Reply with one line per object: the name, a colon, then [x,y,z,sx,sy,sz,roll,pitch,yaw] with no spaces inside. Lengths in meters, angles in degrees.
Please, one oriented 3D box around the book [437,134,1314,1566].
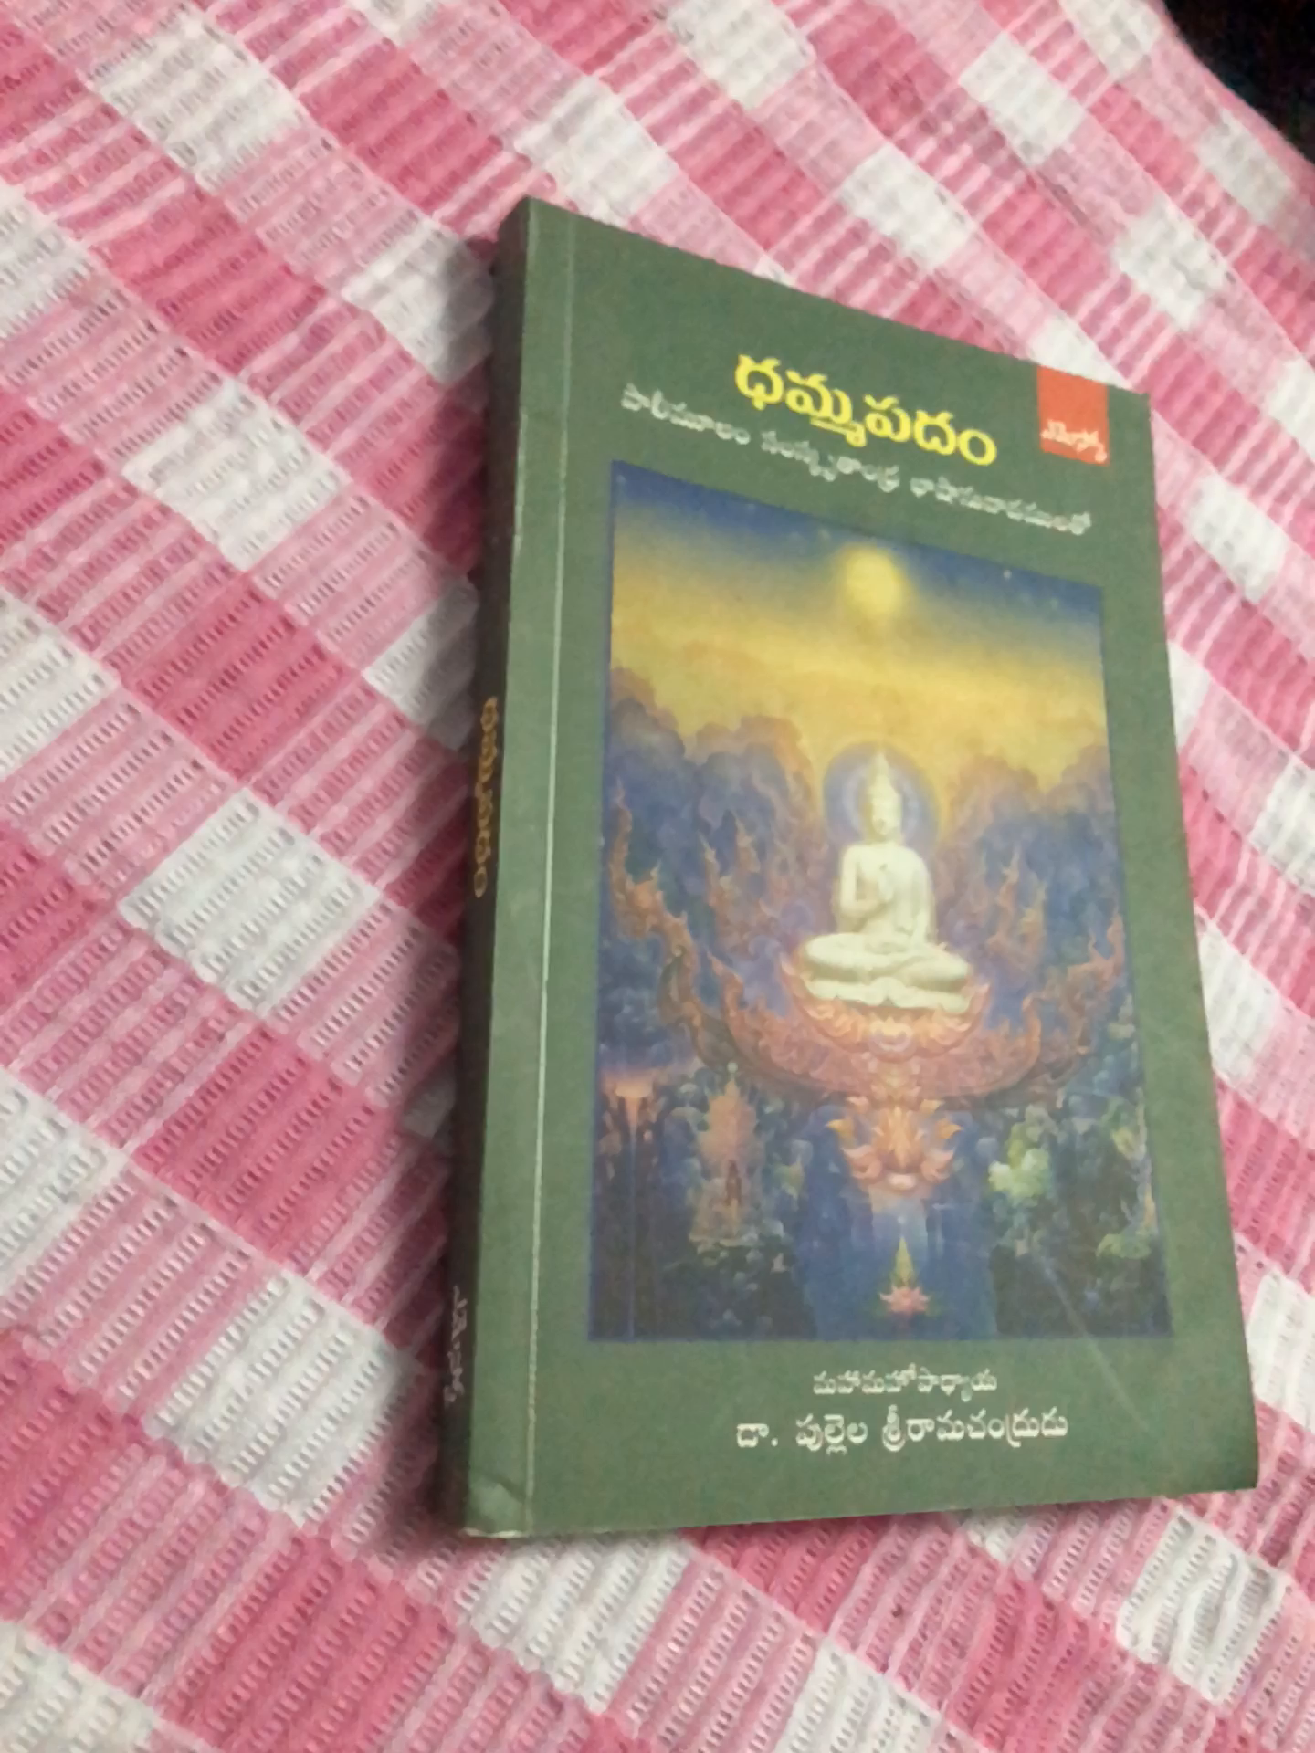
book: [0.039,-0.007,0.235,0.141,0.020,0.200,8,71,-26]
